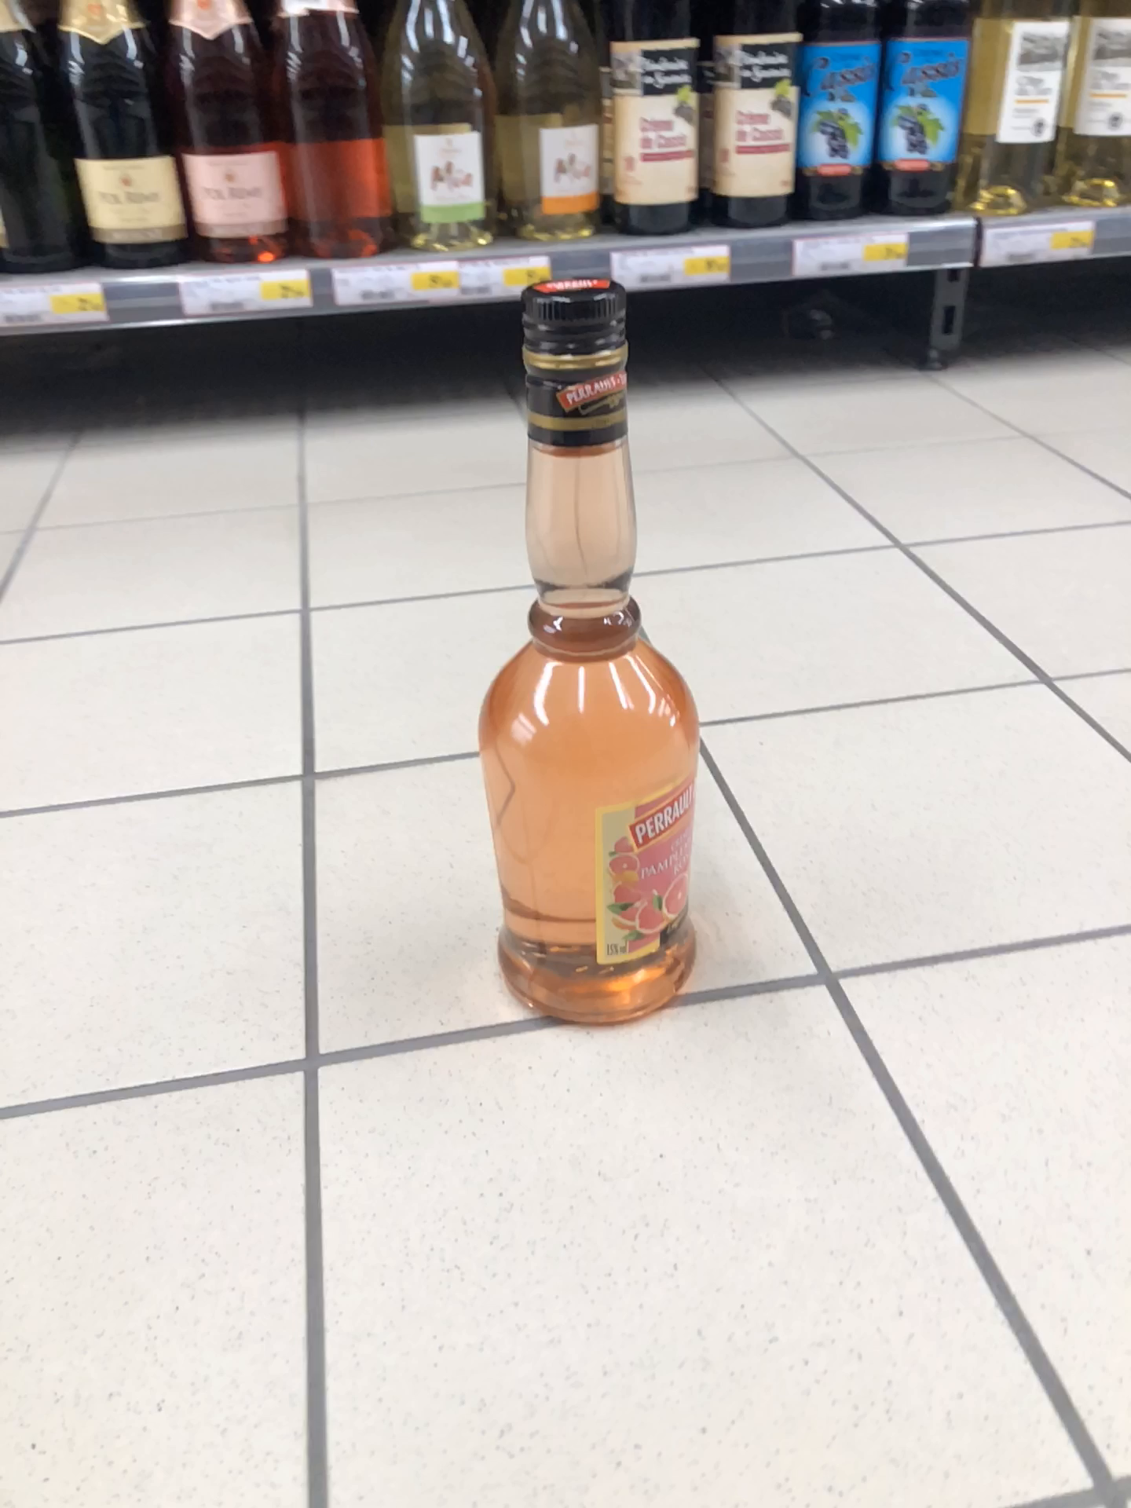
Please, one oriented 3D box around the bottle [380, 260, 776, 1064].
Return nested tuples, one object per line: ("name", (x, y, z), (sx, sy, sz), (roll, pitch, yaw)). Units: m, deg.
("bottle", (0.010, -0.028, 0.412), (0.080, 0.239, 0.091), (13, 33, 25))
